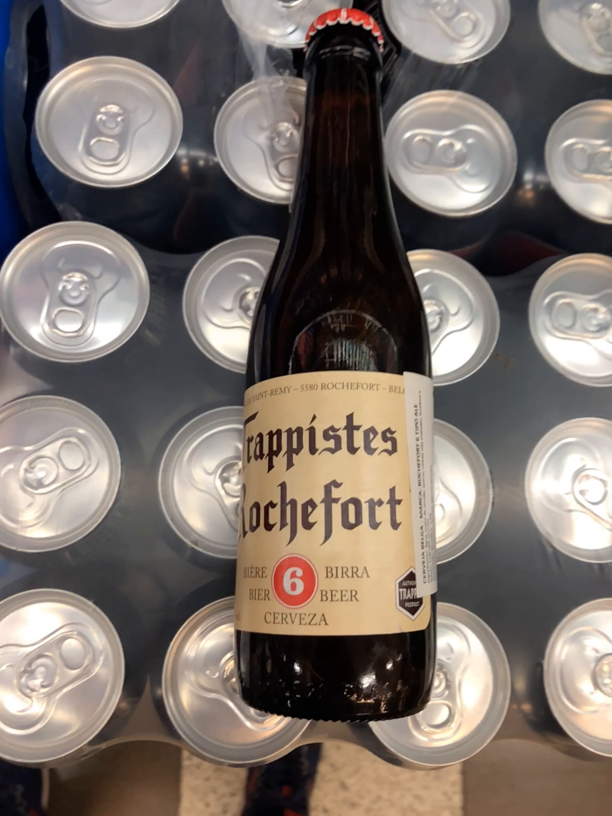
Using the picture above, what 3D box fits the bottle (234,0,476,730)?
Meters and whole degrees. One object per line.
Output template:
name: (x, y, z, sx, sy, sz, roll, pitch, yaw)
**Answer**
bottle: (0.012, -0.034, 0.216, 0.060, 0.050, 0.240, 2, 79, -5)
